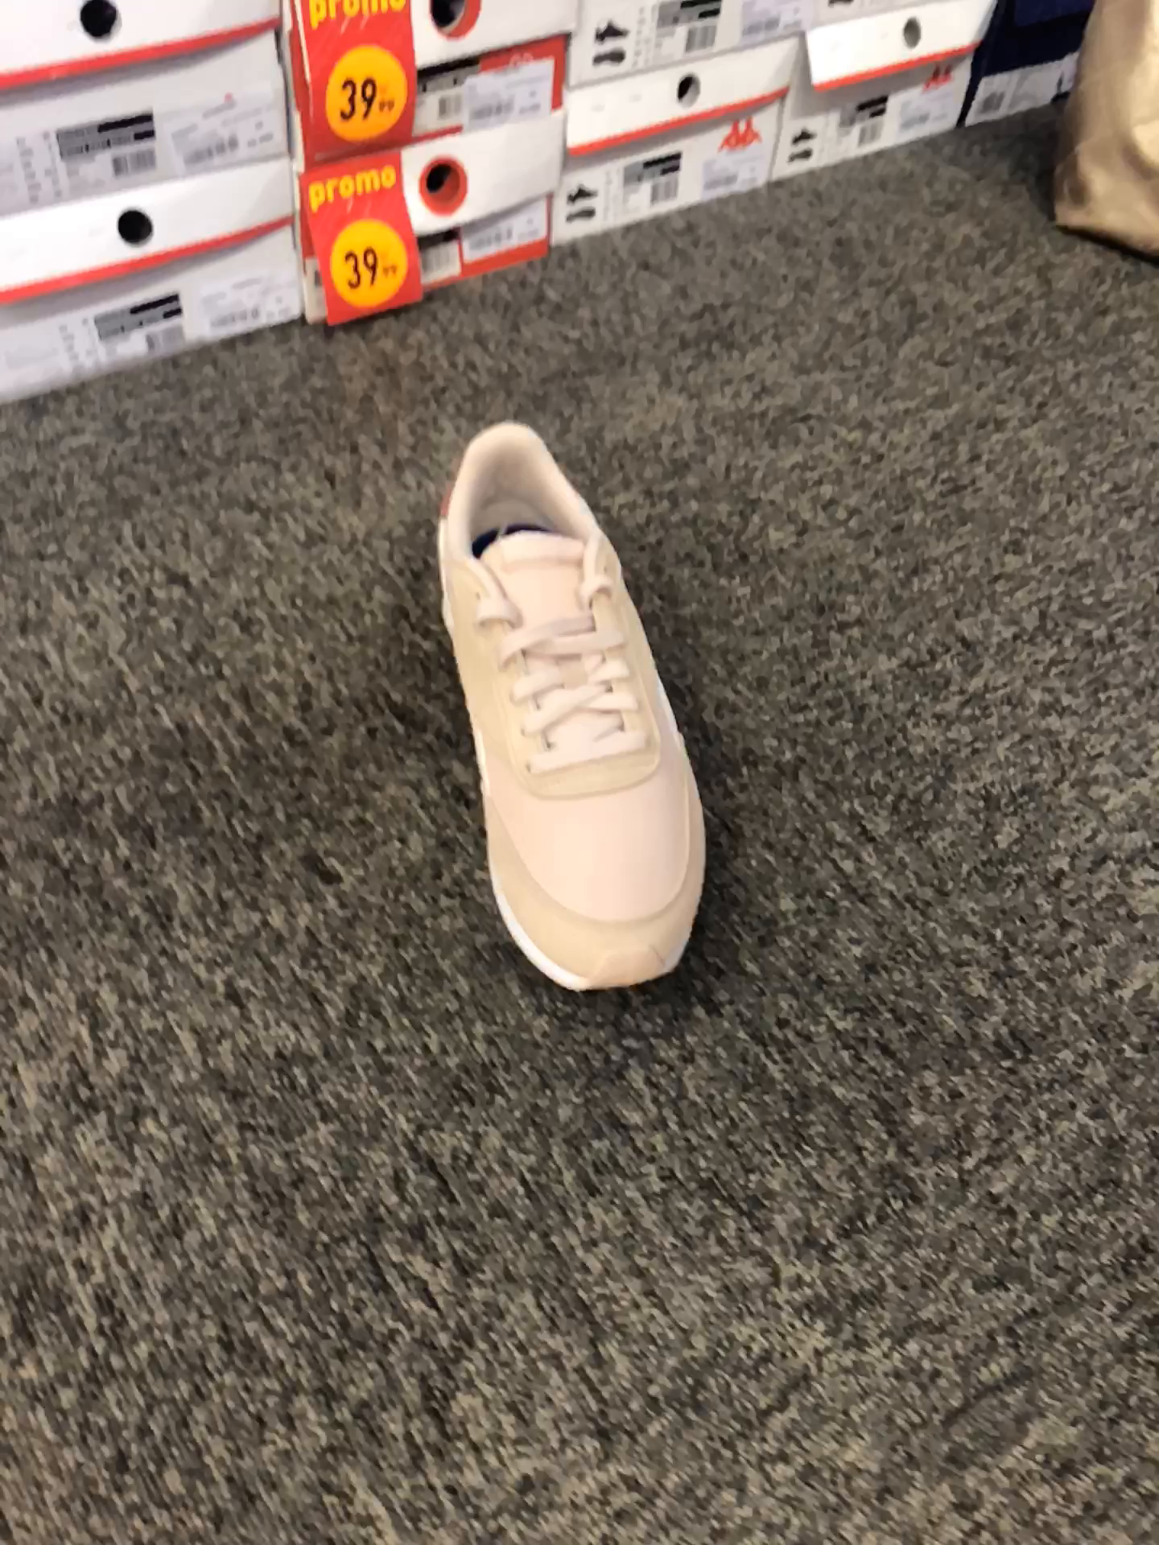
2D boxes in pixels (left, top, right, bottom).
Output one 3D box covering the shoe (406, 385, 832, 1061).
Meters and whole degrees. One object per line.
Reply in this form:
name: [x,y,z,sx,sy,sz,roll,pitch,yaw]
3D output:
shoe: [0.000,-0.034,0.543,0.100,0.109,0.271,-8,53,-12]
